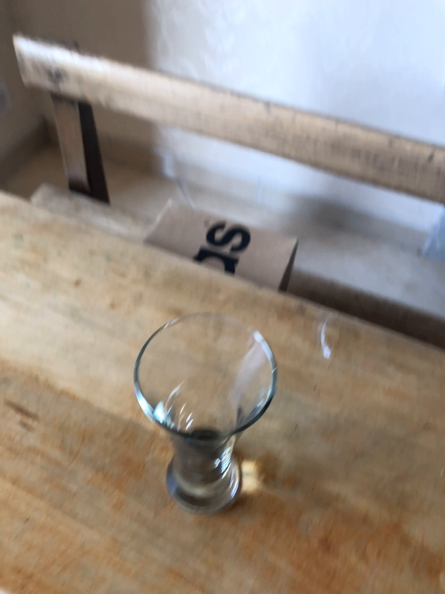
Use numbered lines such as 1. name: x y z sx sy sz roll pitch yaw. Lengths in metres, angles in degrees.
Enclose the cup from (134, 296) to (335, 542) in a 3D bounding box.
1. cup: 0.000 0.079 0.290 0.080 0.149 0.070 -9 53 -10
